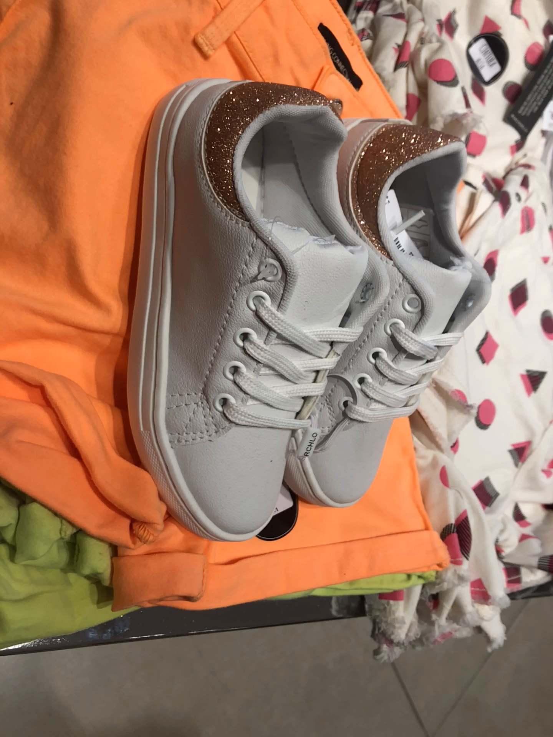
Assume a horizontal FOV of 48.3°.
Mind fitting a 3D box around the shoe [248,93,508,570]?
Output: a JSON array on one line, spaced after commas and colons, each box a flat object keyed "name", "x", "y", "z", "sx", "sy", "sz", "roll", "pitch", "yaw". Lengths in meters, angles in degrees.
[{"name": "shoe", "x": 0.047, "y": -0.018, "z": 0.318, "sx": 0.081, "sy": 0.070, "sz": 0.210, "roll": -4, "pitch": 106, "yaw": -38}]

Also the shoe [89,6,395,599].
[{"name": "shoe", "x": -0.017, "y": -0.024, "z": 0.269, "sx": 0.081, "sy": 0.070, "sz": 0.210, "roll": -4, "pitch": 105, "yaw": -52}]
